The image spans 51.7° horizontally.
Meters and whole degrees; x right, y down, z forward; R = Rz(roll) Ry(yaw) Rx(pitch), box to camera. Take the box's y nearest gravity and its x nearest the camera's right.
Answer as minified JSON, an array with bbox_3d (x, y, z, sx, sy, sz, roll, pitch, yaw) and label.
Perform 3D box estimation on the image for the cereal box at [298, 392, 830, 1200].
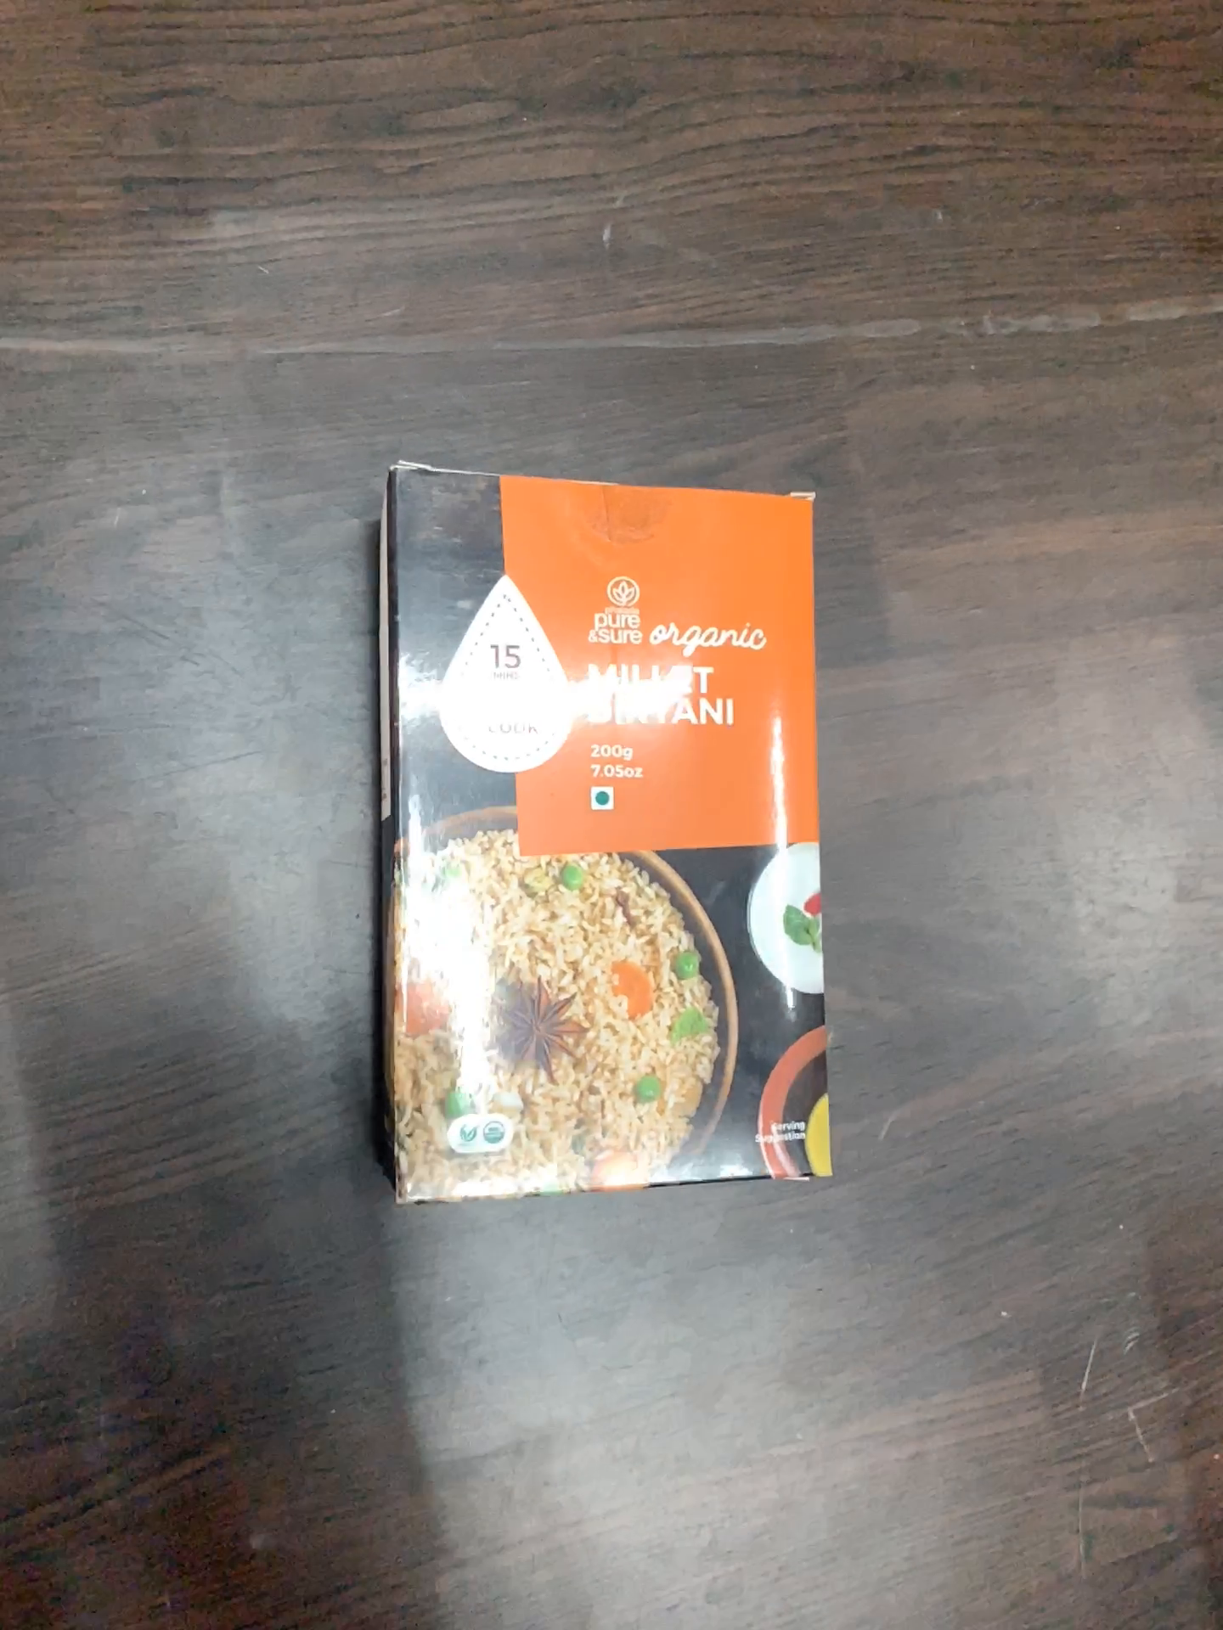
[{"bbox_3d":[-0.014,-0.006,0.305,0.110,0.050,0.170,-3,88,-17],"label":"cereal box"}]
